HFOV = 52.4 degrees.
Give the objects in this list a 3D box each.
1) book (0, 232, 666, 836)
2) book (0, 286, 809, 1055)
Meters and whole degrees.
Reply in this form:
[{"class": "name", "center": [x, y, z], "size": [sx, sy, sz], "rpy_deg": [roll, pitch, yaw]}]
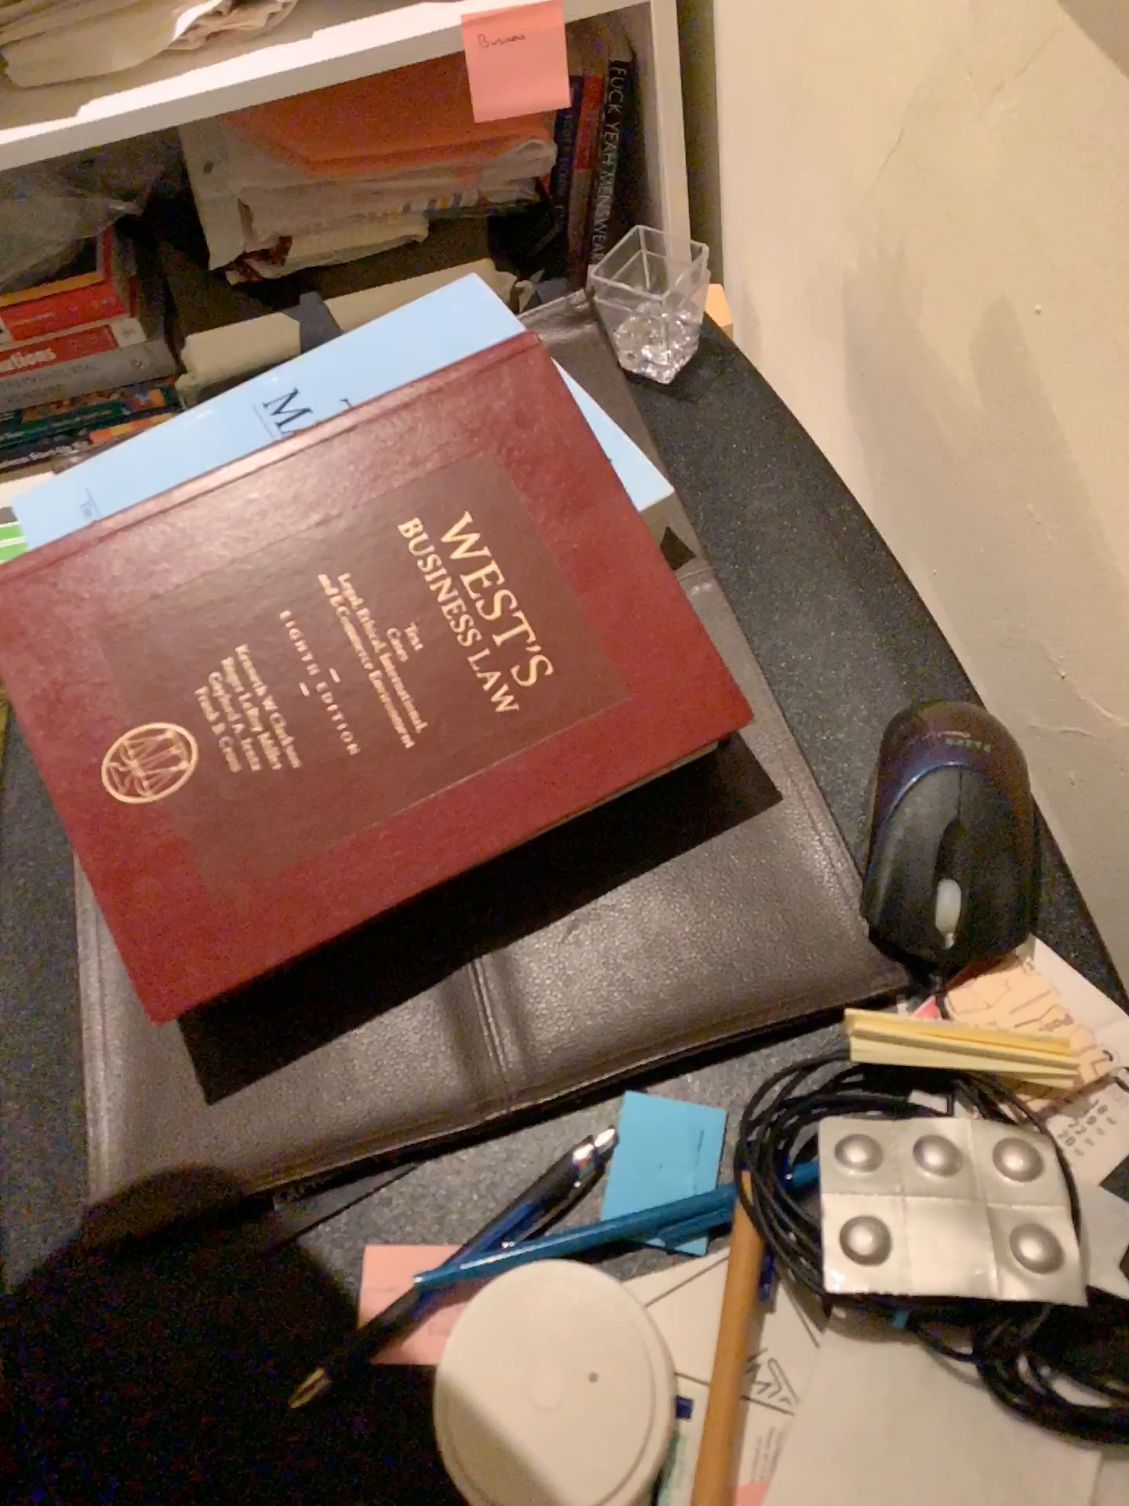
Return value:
[{"class": "book", "center": [-0.124, -0.121, 0.567], "size": [0.270, 0.070, 0.221], "rpy_deg": [-27, 57, -7]}, {"class": "book", "center": [-0.073, -0.039, 0.474], "size": [0.270, 0.050, 0.210], "rpy_deg": [-27, 81, -8]}]
